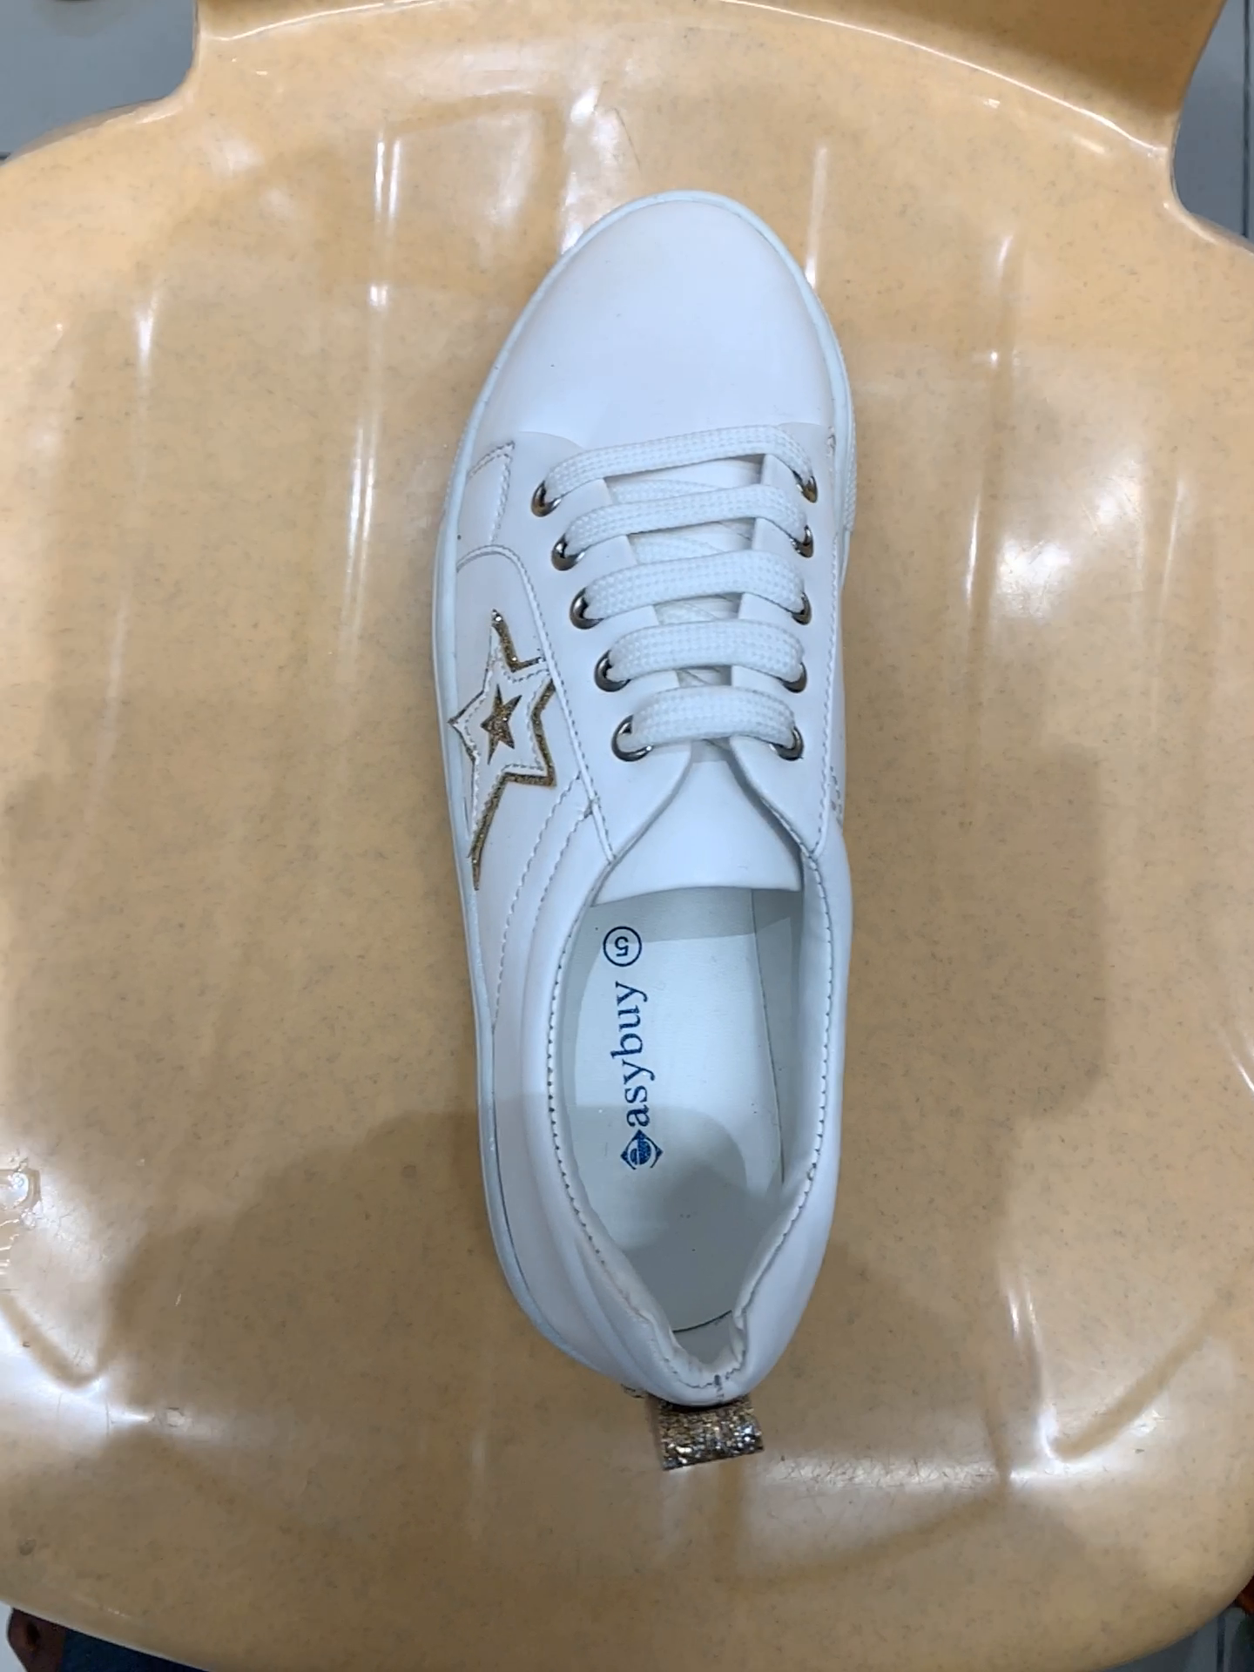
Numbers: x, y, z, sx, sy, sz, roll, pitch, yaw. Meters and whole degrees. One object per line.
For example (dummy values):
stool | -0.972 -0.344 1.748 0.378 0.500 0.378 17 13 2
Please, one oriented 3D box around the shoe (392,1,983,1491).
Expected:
shoe | 0.009 -0.016 0.253 0.090 0.090 0.240 1 85 -2
